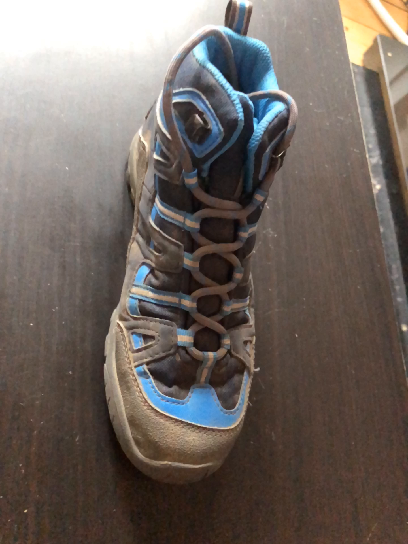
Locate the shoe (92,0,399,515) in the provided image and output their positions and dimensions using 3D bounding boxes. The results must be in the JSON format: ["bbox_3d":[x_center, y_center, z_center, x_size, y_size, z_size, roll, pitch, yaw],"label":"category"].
[{"bbox_3d":[0.008,-0.013,0.260,0.100,0.119,0.251,8,67,-22],"label":"shoe"}]
